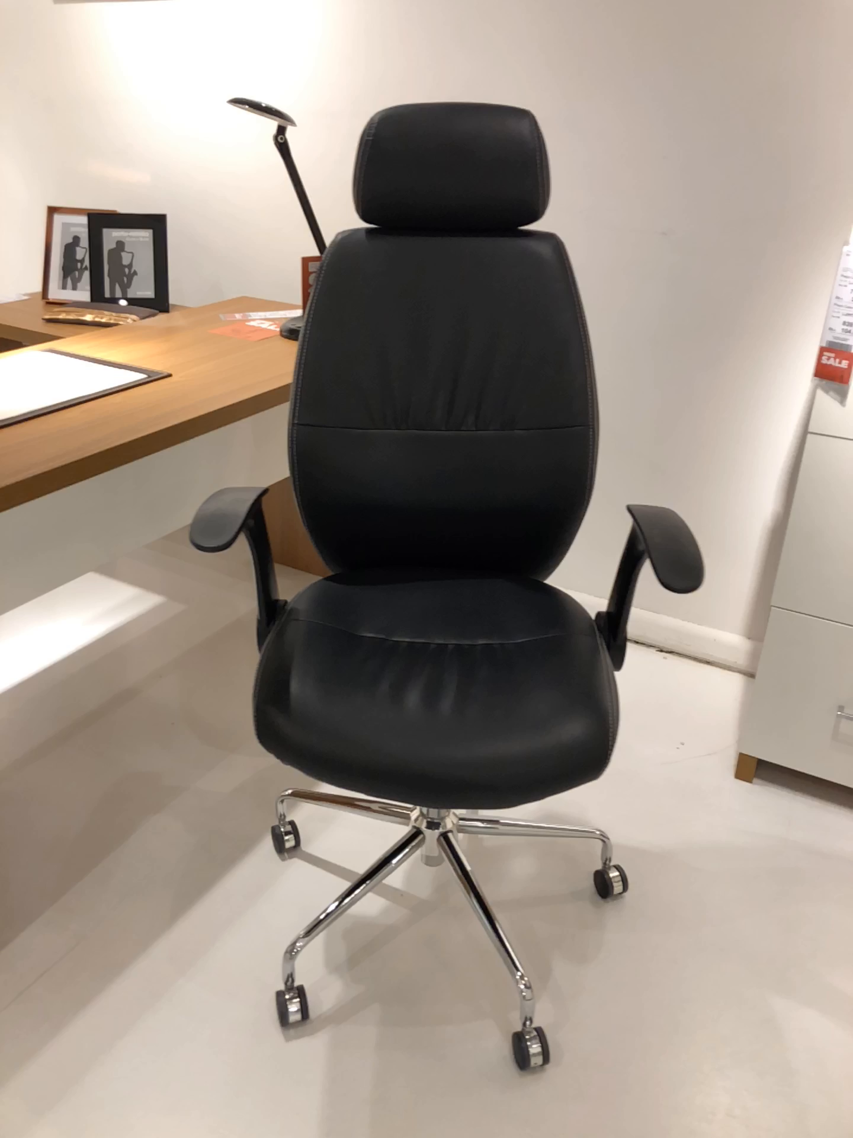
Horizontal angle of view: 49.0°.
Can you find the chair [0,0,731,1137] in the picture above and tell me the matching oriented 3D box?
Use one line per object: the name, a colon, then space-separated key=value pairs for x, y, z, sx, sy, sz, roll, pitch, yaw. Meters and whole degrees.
chair: x=-0.158 y=0.036 z=1.227 sx=0.690 sy=1.299 sz=0.716 roll=4 pitch=30 yaw=2
